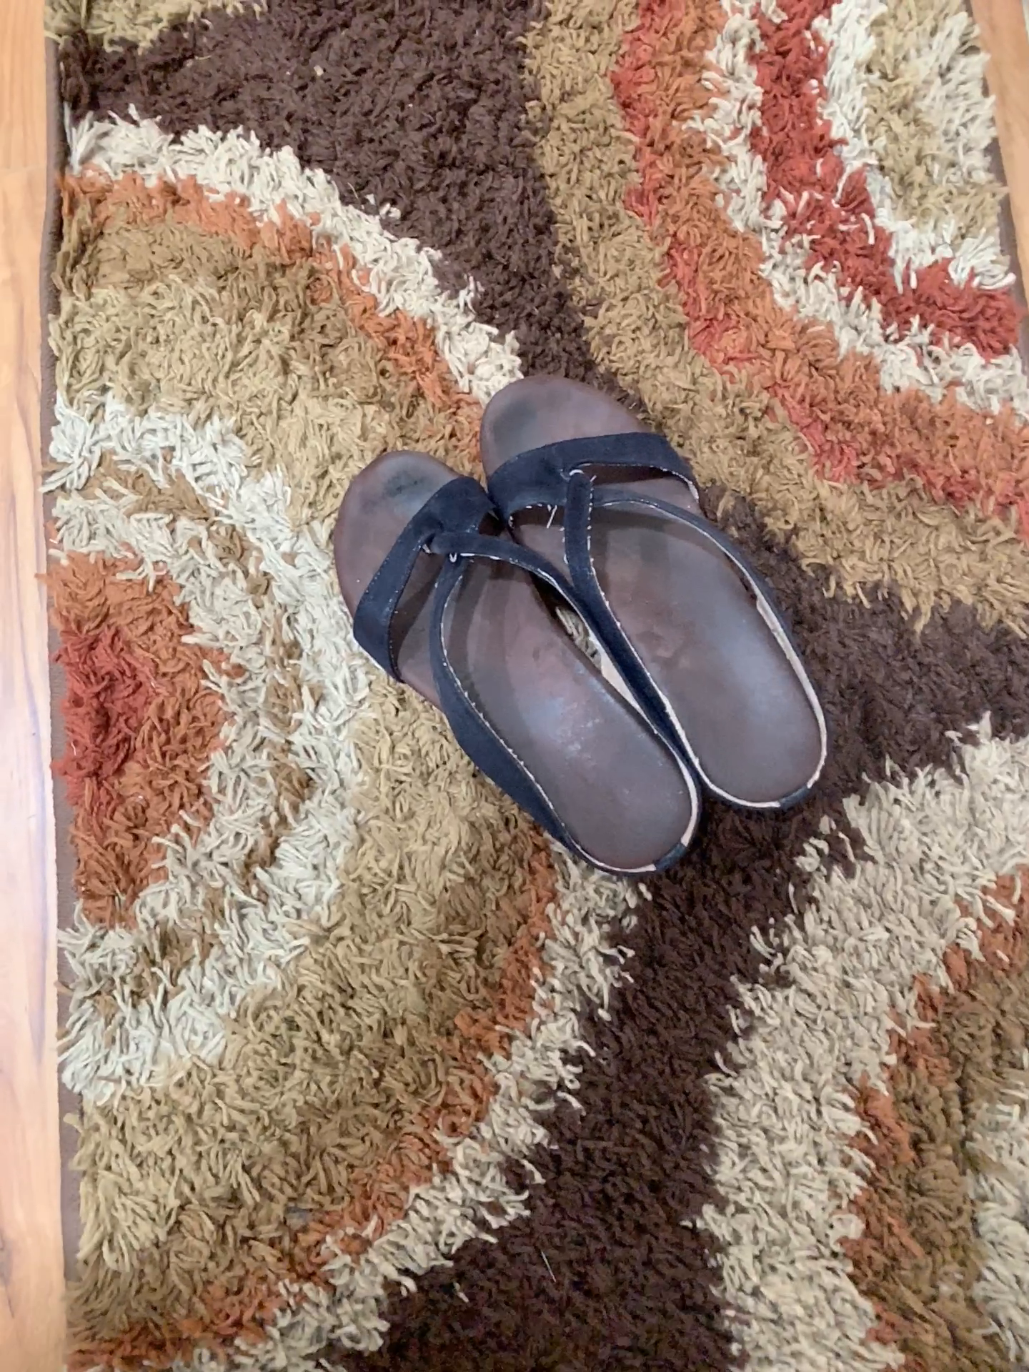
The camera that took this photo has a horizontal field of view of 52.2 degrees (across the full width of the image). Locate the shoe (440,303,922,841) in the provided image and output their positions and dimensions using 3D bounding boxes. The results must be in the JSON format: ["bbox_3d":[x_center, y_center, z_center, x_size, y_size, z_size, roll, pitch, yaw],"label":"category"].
[{"bbox_3d":[0.067,-0.048,0.464,0.084,0.052,0.223,-35,83,-6],"label":"shoe"}]

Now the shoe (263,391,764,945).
[{"bbox_3d":[-0.003,-0.007,0.463,0.090,0.062,0.222,-37,83,-6],"label":"shoe"}]
